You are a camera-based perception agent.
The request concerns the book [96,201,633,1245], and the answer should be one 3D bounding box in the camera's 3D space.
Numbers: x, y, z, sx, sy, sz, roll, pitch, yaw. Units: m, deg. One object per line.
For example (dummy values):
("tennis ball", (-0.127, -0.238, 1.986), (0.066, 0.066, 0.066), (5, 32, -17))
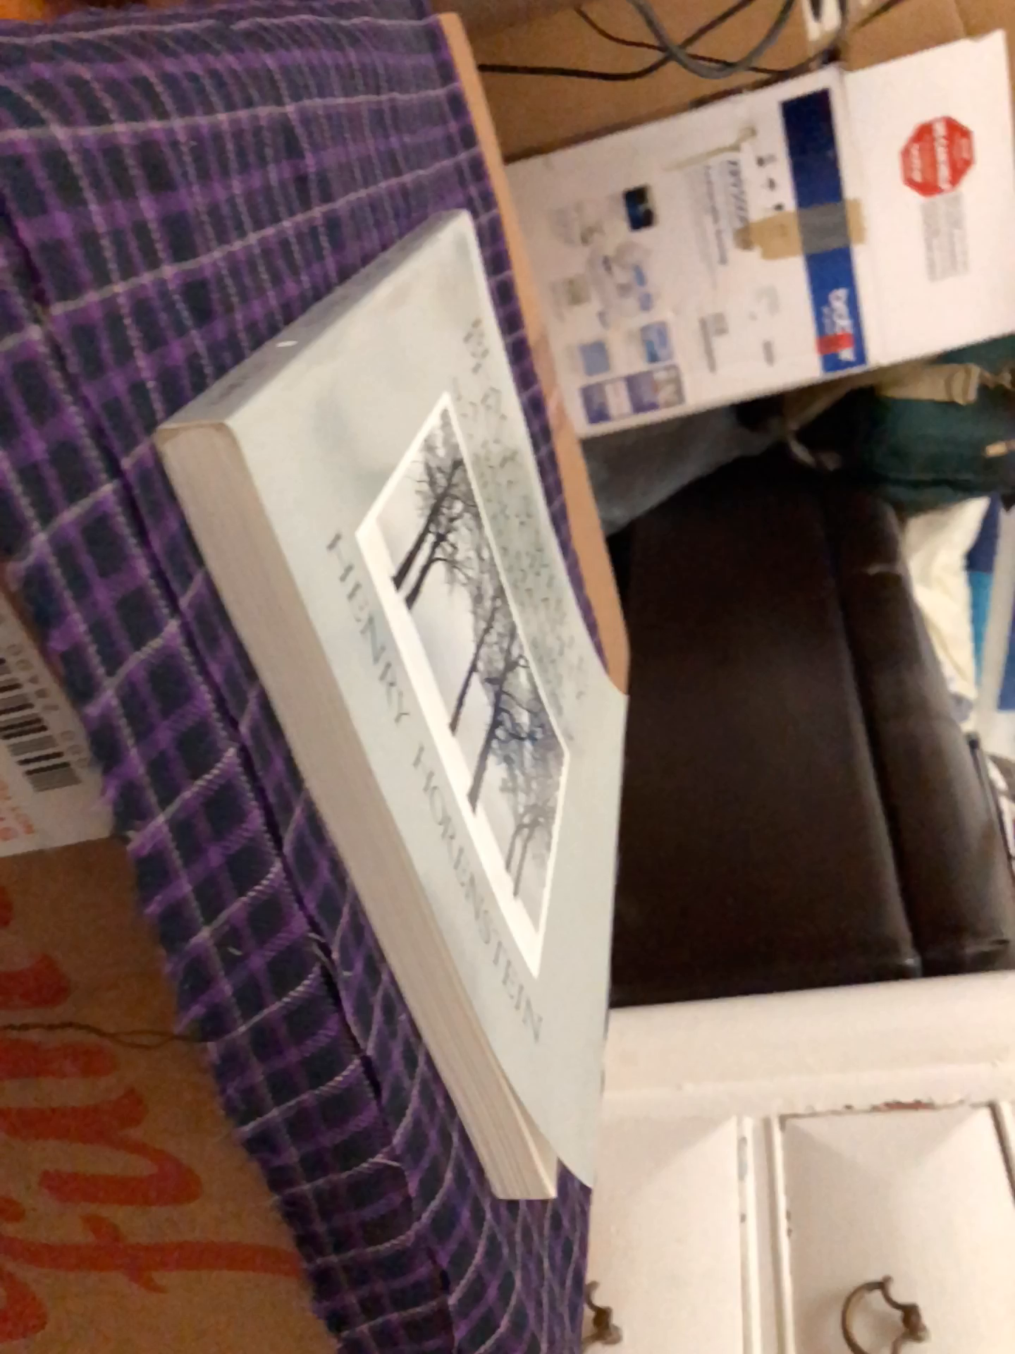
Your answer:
("book", (-0.007, -0.012, 0.339), (0.251, 0.030, 0.210), (-74, 150, -58))
